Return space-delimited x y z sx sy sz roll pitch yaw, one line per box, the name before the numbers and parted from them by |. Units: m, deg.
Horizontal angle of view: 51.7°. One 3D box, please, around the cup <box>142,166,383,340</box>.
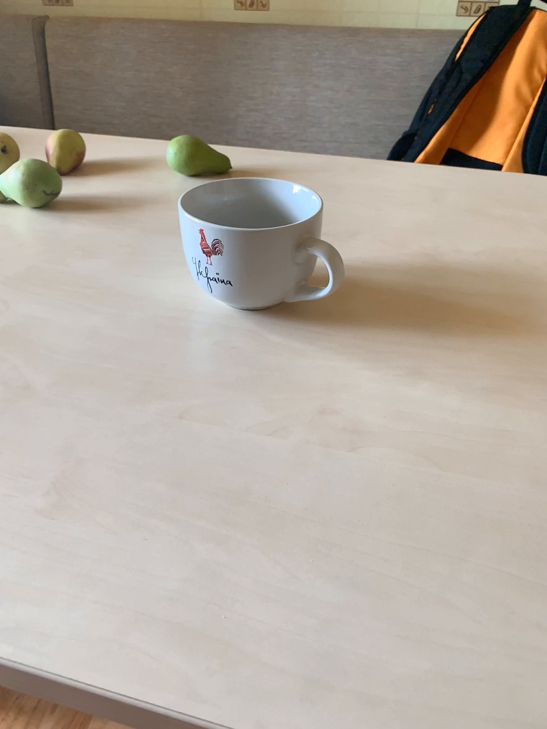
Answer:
cup | -0.008 -0.087 0.400 0.130 0.060 0.100 26 43 31
